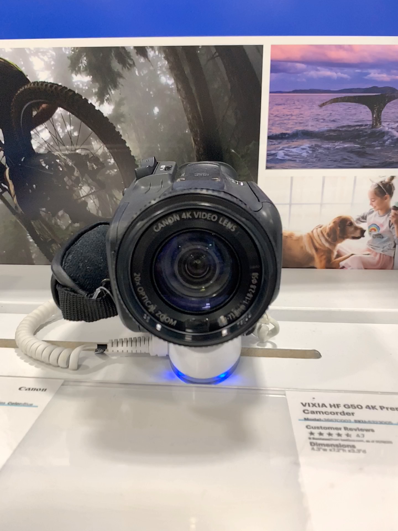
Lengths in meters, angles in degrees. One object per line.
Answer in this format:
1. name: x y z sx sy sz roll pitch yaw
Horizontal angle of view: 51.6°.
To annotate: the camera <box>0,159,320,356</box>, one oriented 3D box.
1. camera: -0.020 -0.026 0.255 0.131 0.069 0.201 1 16 1
